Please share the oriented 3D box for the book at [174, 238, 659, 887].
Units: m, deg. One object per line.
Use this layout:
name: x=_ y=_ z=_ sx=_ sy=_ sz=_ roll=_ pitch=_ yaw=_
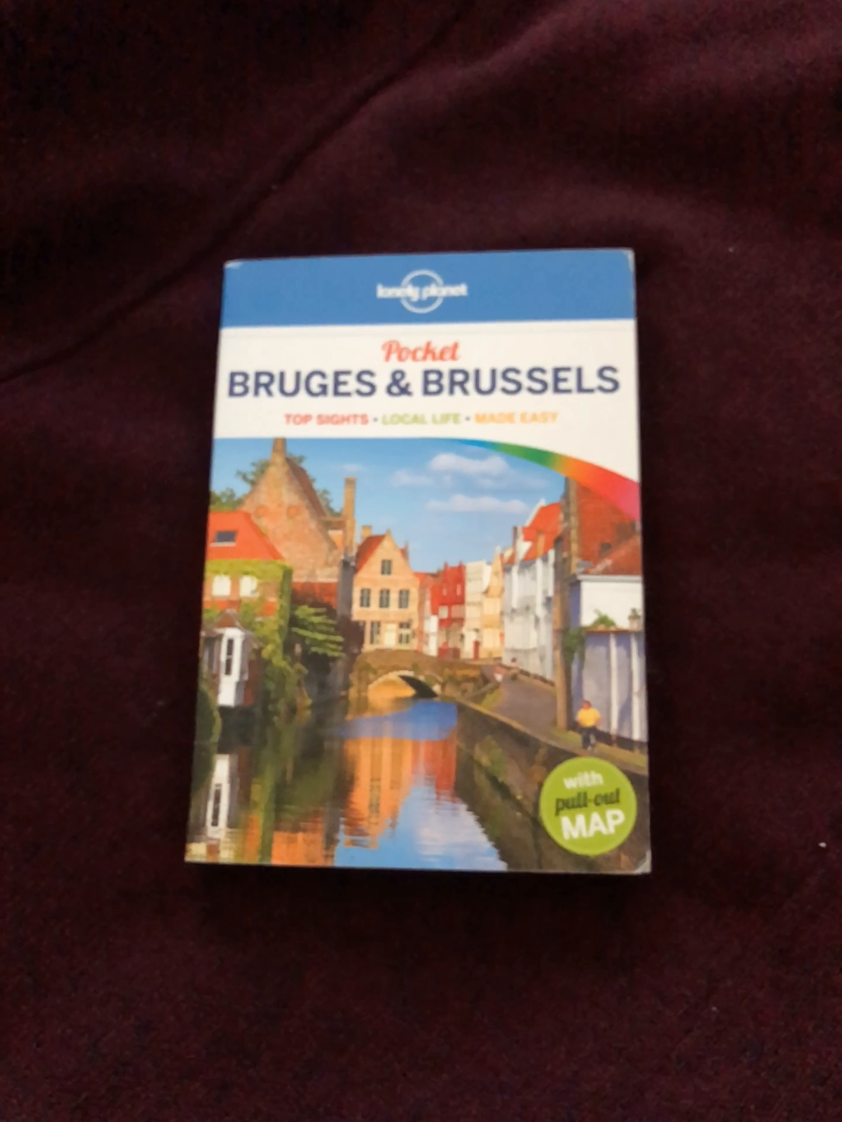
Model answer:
book: x=0.000 y=-0.004 z=0.240 sx=0.110 sy=0.016 sz=0.158 roll=0 pitch=78 yaw=6
